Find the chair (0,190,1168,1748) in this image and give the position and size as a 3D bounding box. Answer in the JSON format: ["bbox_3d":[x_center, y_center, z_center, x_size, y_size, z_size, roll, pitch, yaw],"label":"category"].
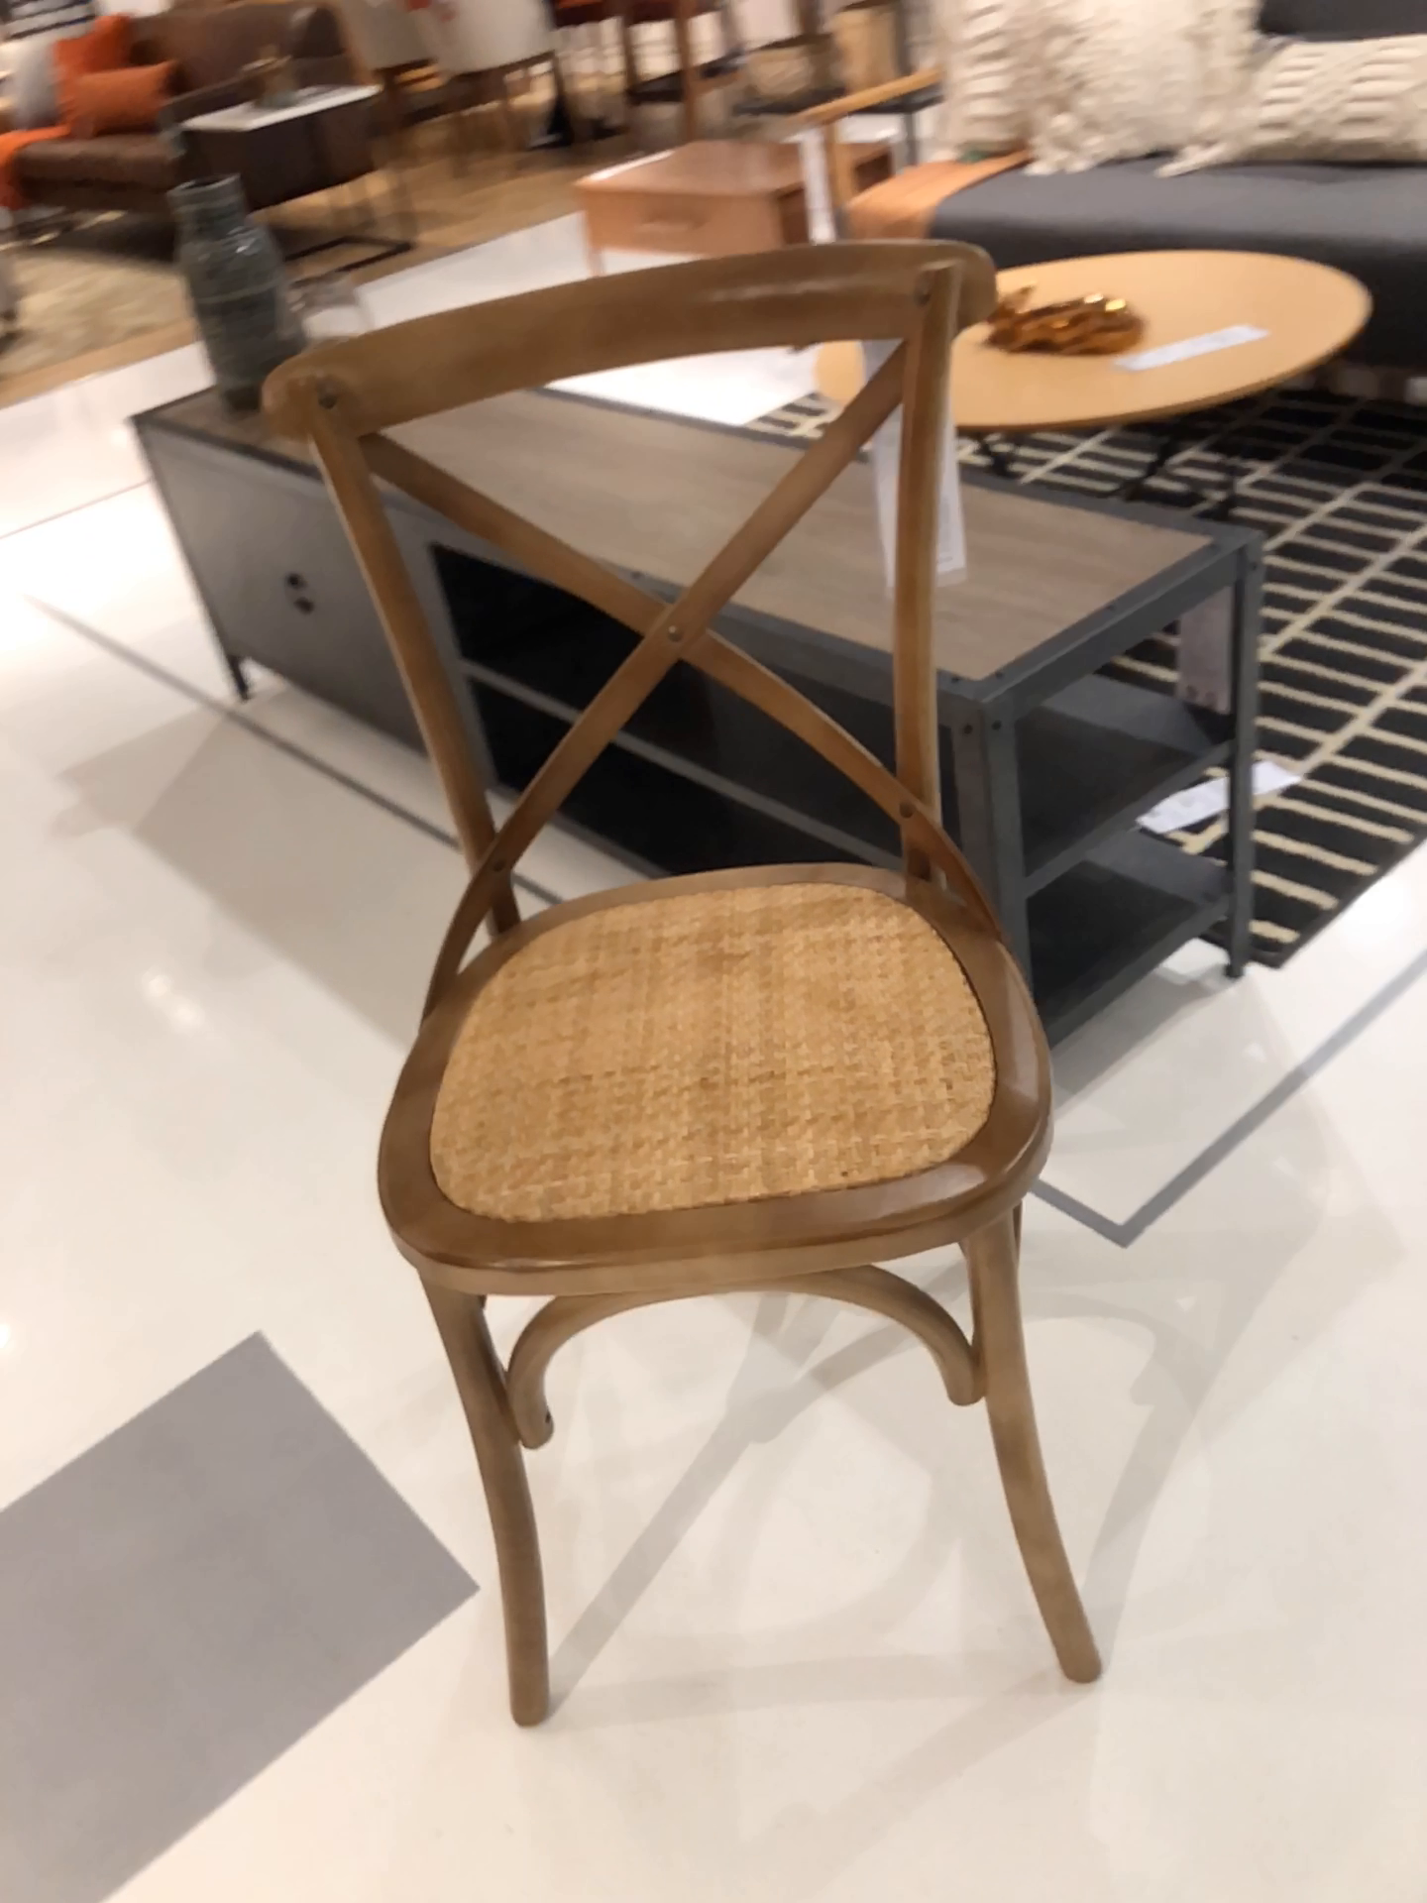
[{"bbox_3d":[-0.002,0.032,1.106,0.500,0.863,0.575,-8,35,6],"label":"chair"}]
